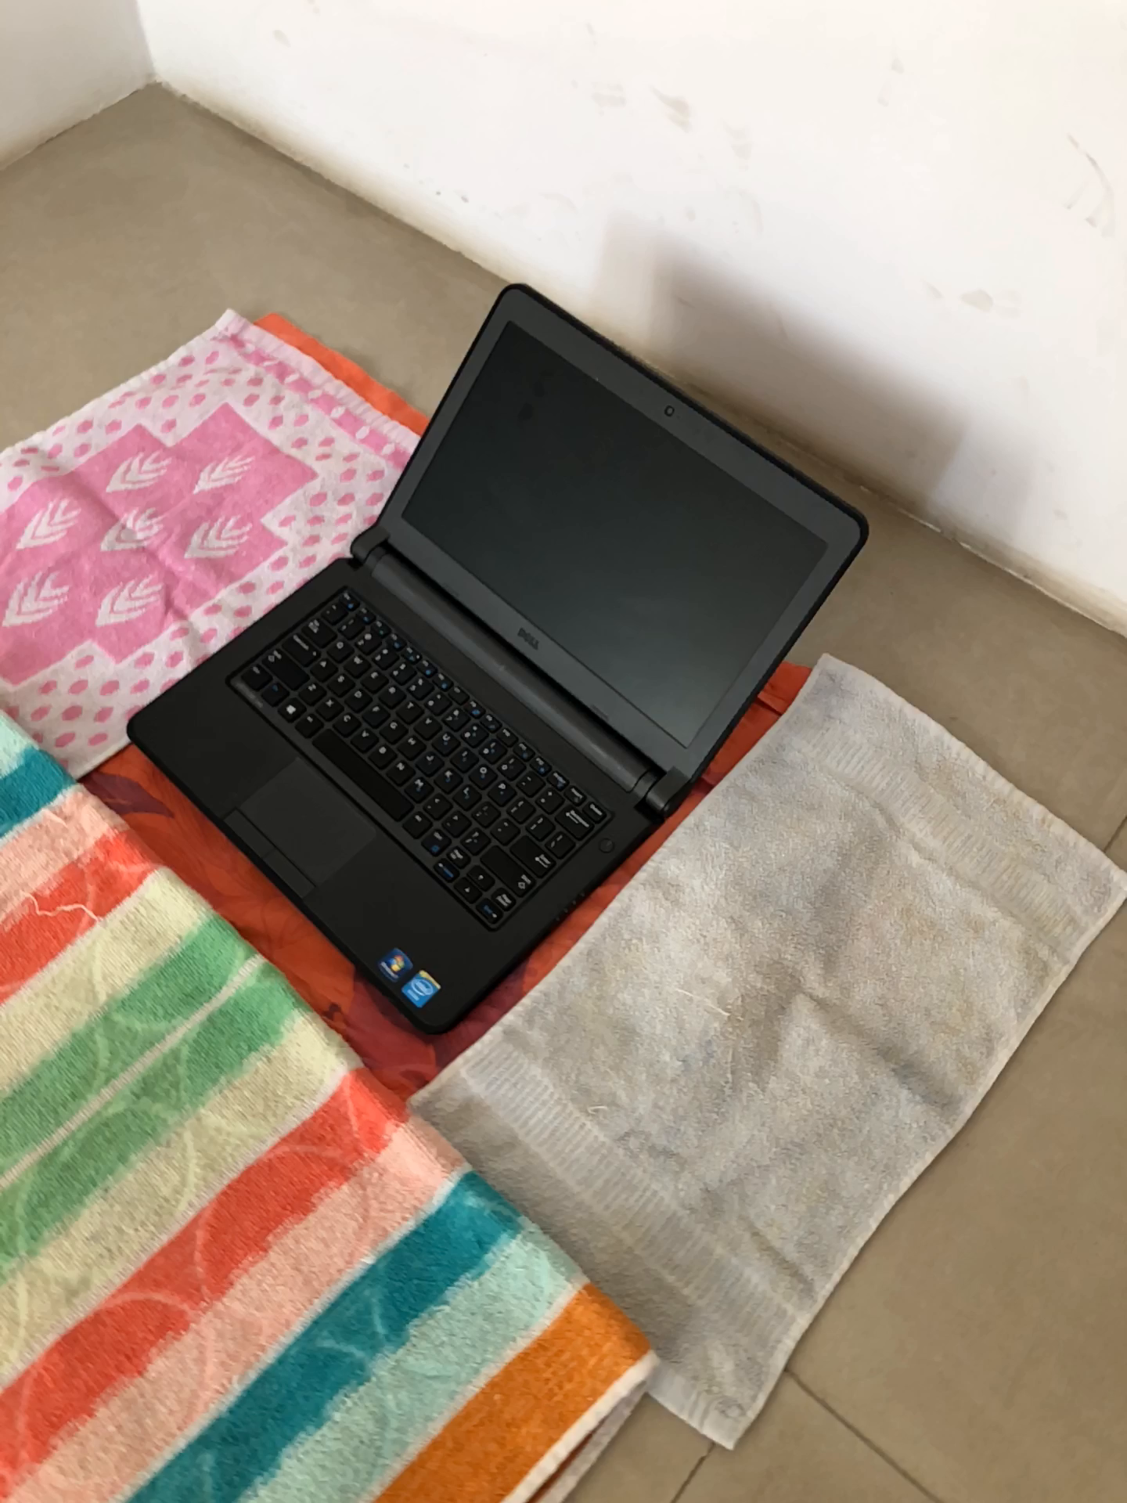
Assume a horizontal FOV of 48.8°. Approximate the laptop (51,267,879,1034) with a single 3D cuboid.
[{"bbox_3d":[-0.057,-0.083,0.816,0.313,0.143,0.392,40,69,20],"label":"laptop"}]
